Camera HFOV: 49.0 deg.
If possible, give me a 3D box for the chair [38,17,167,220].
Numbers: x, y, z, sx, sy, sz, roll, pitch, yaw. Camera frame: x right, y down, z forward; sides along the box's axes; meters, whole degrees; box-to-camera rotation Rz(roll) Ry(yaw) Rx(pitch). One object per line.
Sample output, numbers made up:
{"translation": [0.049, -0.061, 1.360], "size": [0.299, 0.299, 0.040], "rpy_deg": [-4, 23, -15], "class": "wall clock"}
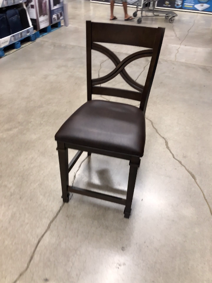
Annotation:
{"translation": [0.022, -0.131, 1.481], "size": [0.490, 1.027, 0.652], "rpy_deg": [11, 40, 10], "class": "chair"}
